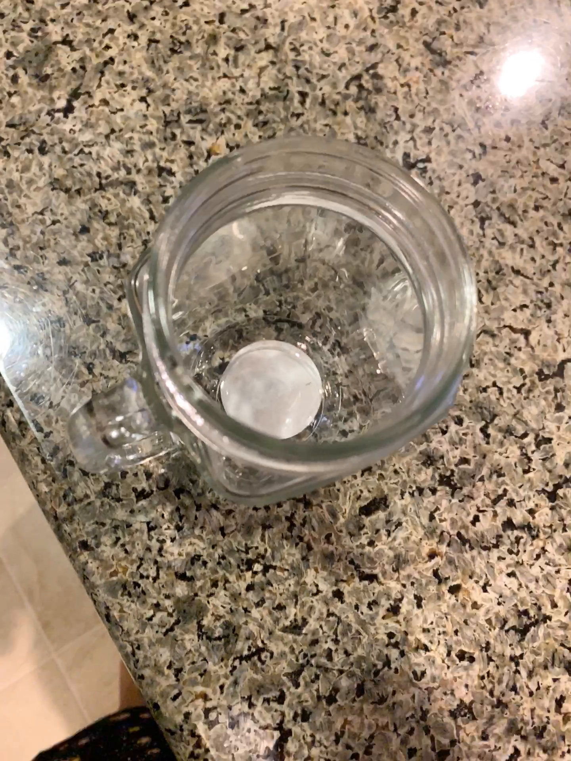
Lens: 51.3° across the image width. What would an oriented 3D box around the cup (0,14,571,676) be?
[{"bbox_3d":[-0.016,-0.004,0.167,0.120,0.120,0.080,-27,83,-11],"label":"cup"}]
